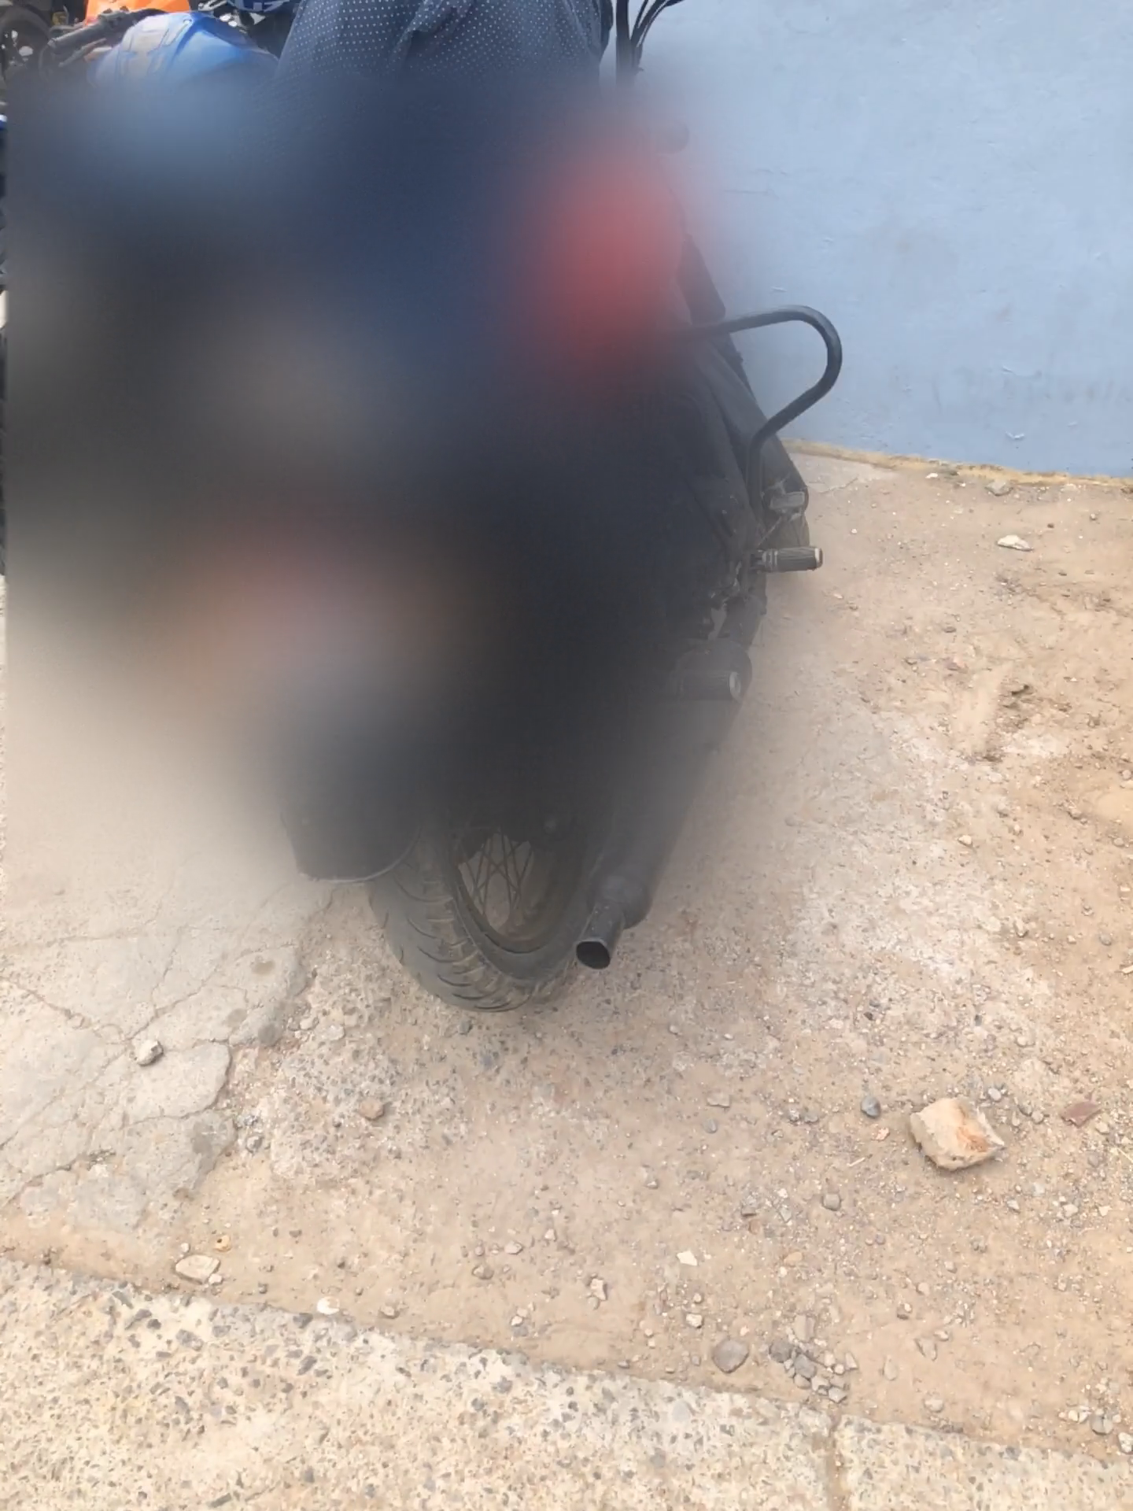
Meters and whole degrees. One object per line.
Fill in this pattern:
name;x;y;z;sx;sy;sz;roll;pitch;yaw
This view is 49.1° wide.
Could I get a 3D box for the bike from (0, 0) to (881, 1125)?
bike;-0.137;-0.644;1.821;0.776;1.246;1.549;13;41;7
